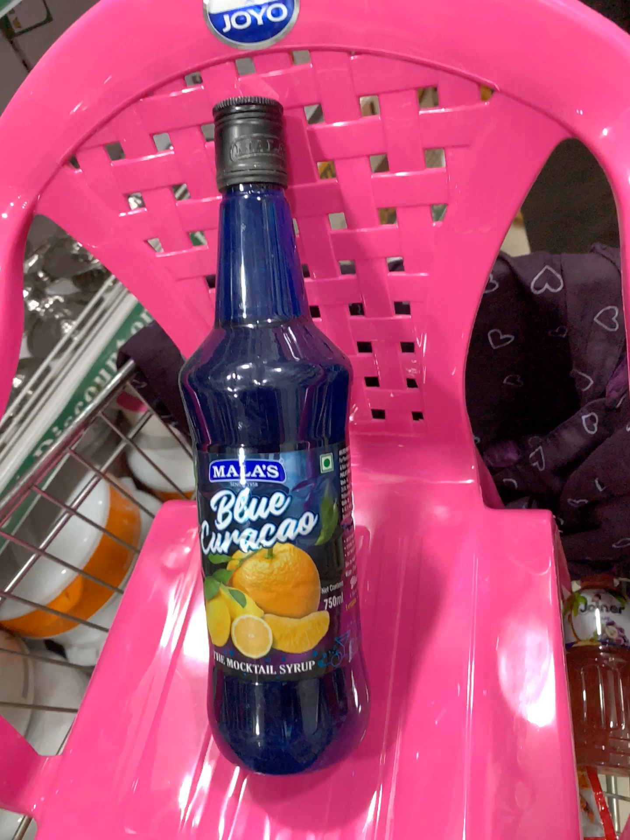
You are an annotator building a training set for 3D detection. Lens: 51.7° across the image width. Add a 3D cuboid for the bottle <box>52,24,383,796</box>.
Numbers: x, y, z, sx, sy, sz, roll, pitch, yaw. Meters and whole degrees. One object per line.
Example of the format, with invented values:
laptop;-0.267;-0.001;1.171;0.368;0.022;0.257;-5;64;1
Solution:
bottle;-0.028;0.005;0.272;0.080;0.270;0.080;-5;11;1
